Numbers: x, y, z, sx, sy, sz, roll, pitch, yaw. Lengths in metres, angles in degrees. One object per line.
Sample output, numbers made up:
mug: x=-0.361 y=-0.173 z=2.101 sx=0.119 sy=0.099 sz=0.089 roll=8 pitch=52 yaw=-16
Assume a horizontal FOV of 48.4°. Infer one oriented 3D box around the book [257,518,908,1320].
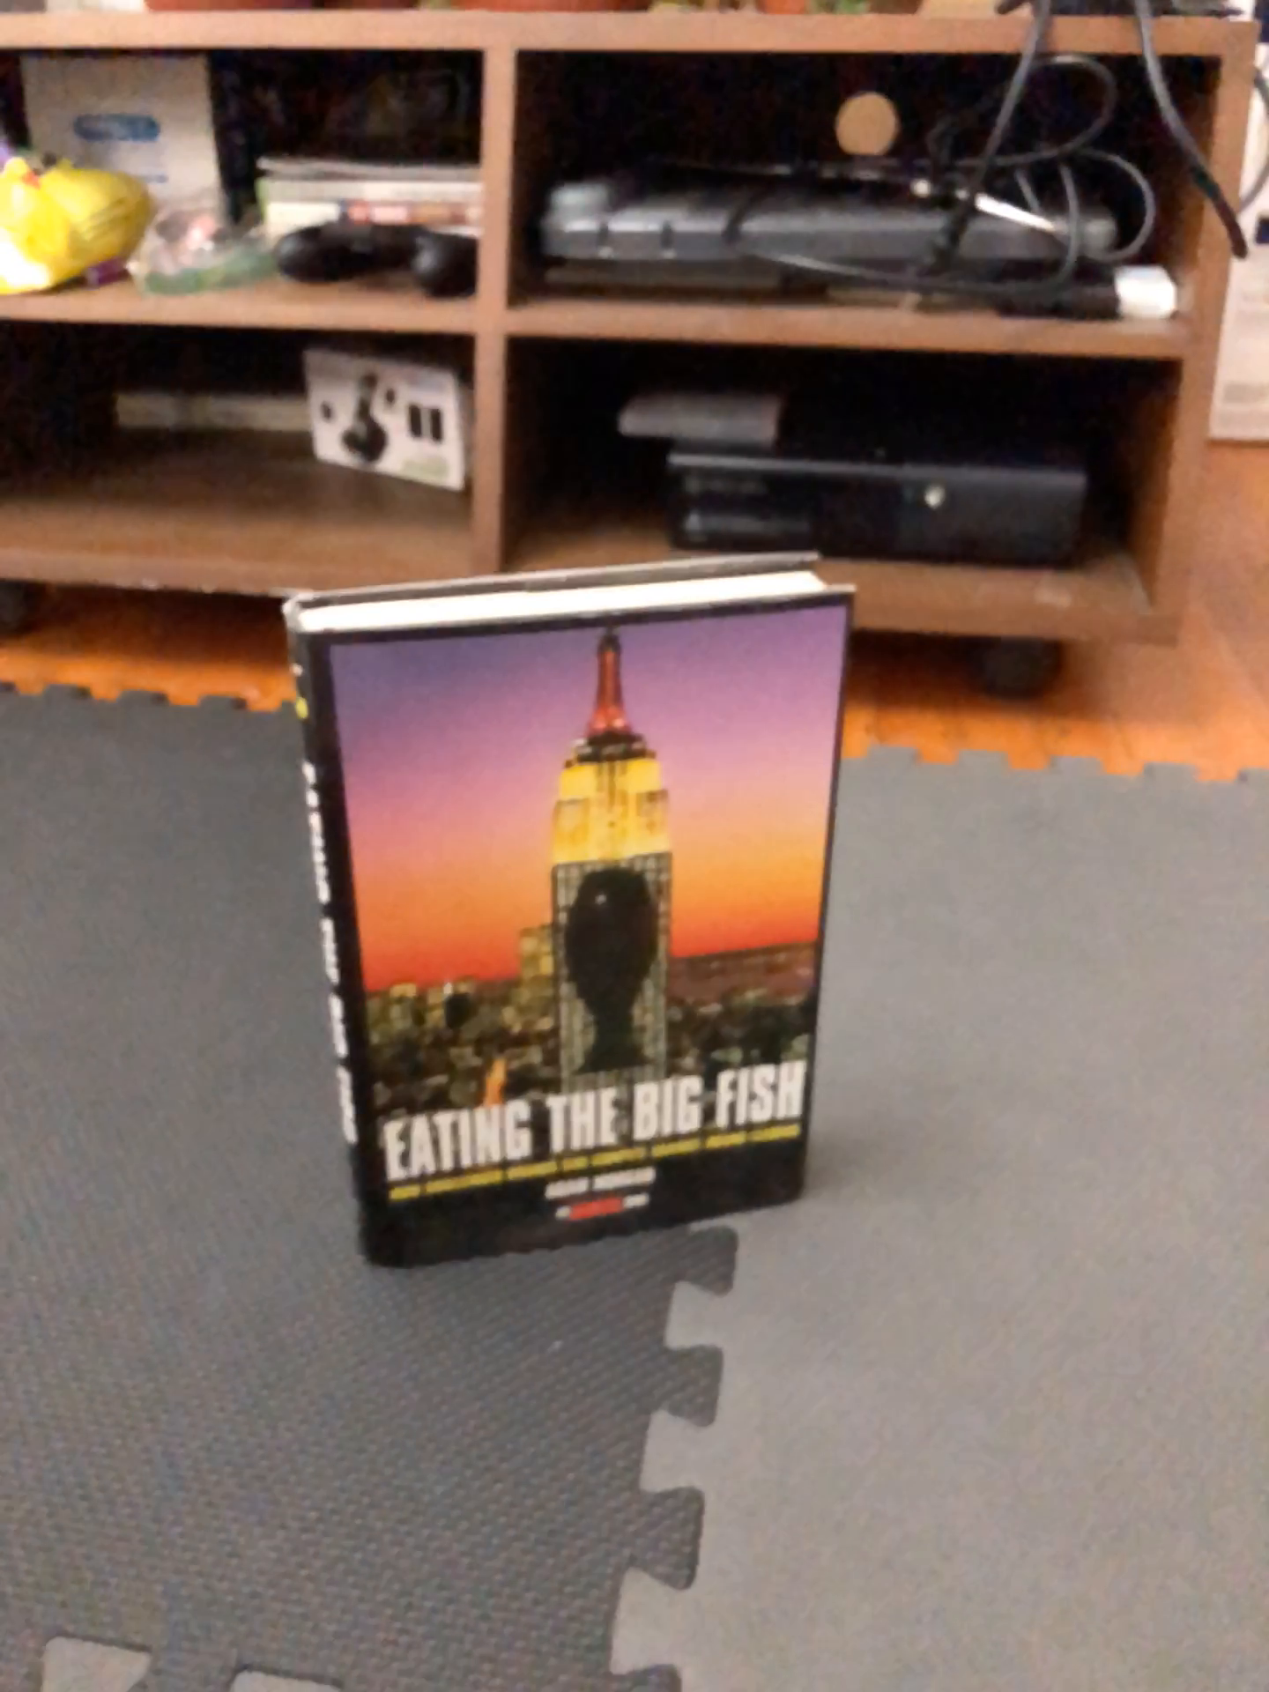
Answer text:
book: x=-0.016 y=0.032 z=0.472 sx=0.180 sy=0.258 sz=0.050 roll=-8 pitch=32 yaw=-13
